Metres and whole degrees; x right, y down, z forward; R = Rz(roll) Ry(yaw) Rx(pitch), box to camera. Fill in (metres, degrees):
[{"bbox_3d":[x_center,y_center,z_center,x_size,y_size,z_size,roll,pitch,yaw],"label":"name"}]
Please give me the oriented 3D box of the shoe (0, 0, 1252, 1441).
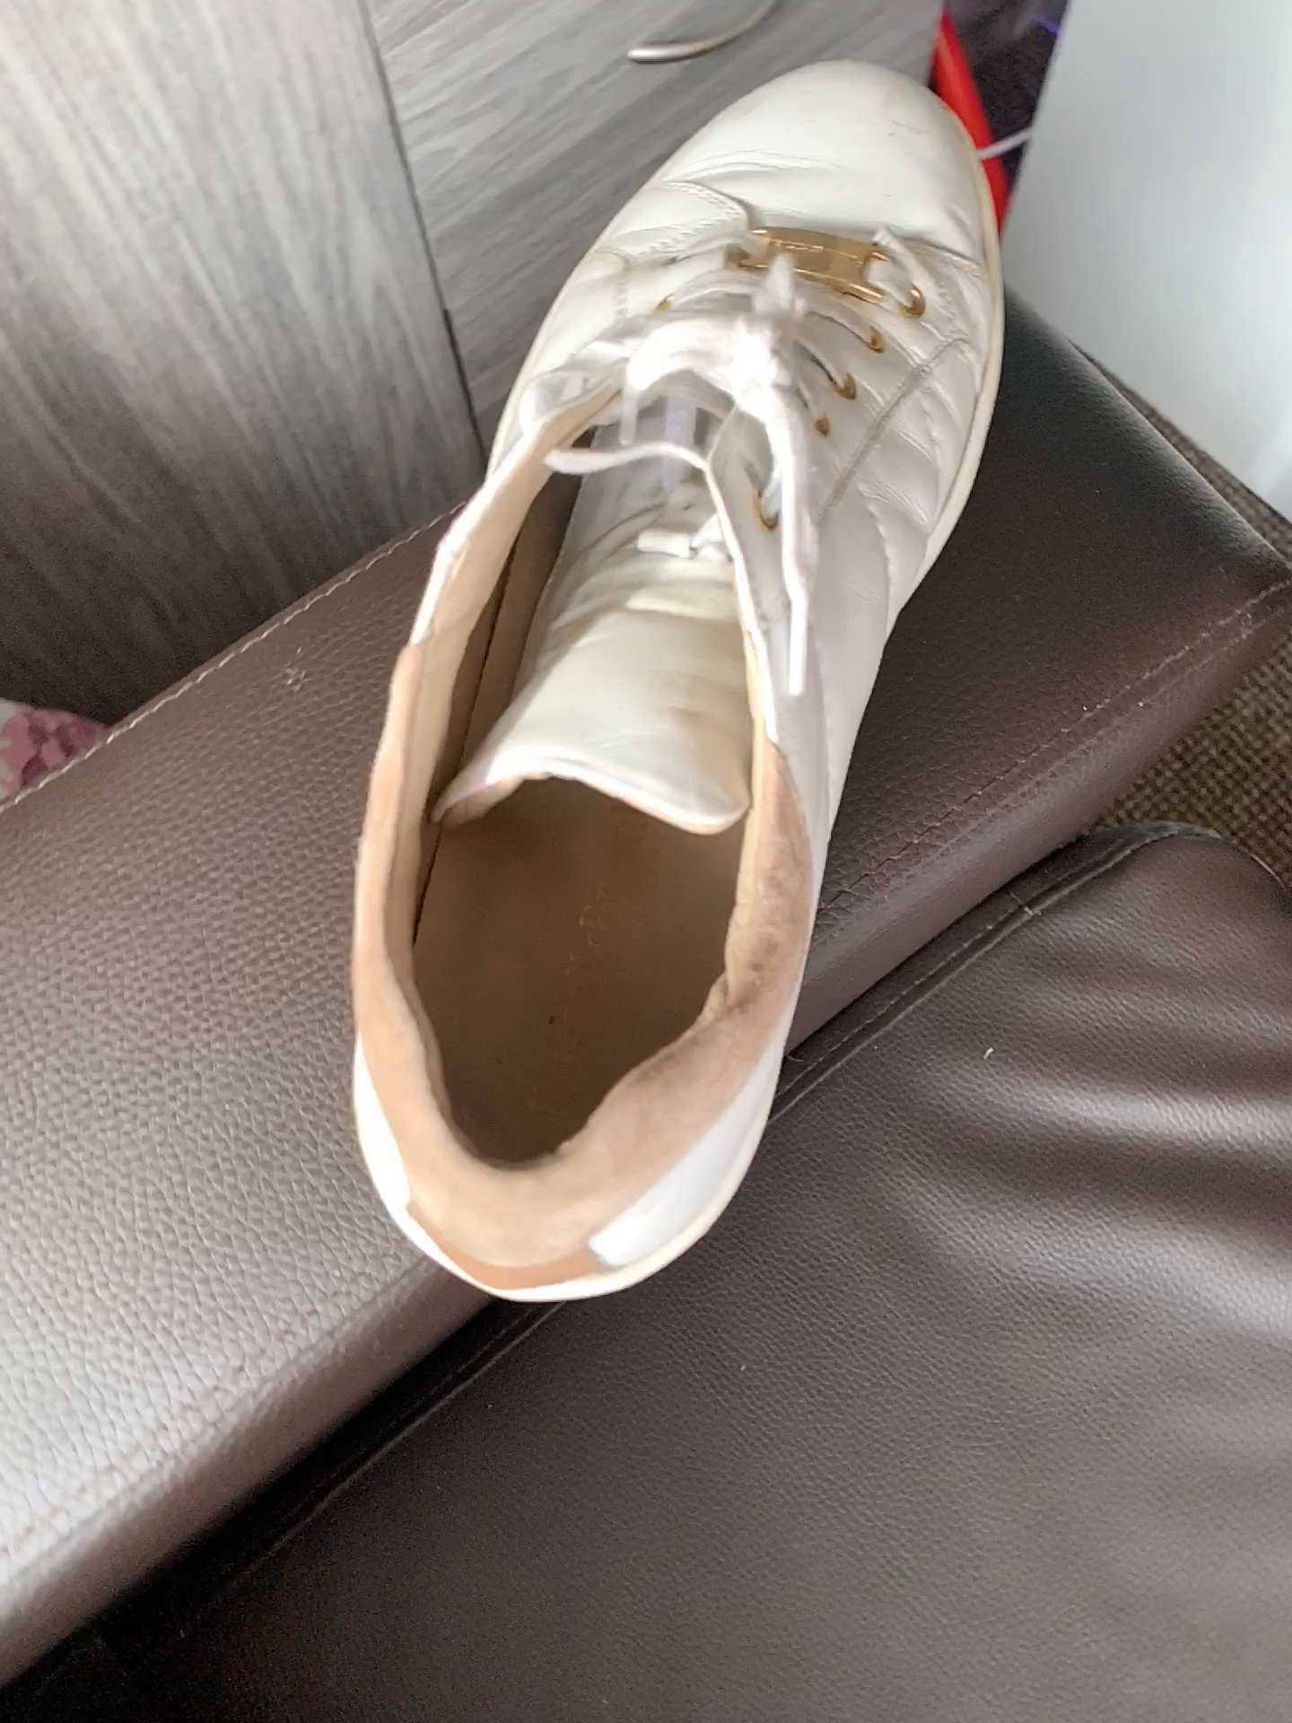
[{"bbox_3d":[0.009,-0.064,0.230,0.110,0.110,0.271,14,74,5],"label":"shoe"}]
